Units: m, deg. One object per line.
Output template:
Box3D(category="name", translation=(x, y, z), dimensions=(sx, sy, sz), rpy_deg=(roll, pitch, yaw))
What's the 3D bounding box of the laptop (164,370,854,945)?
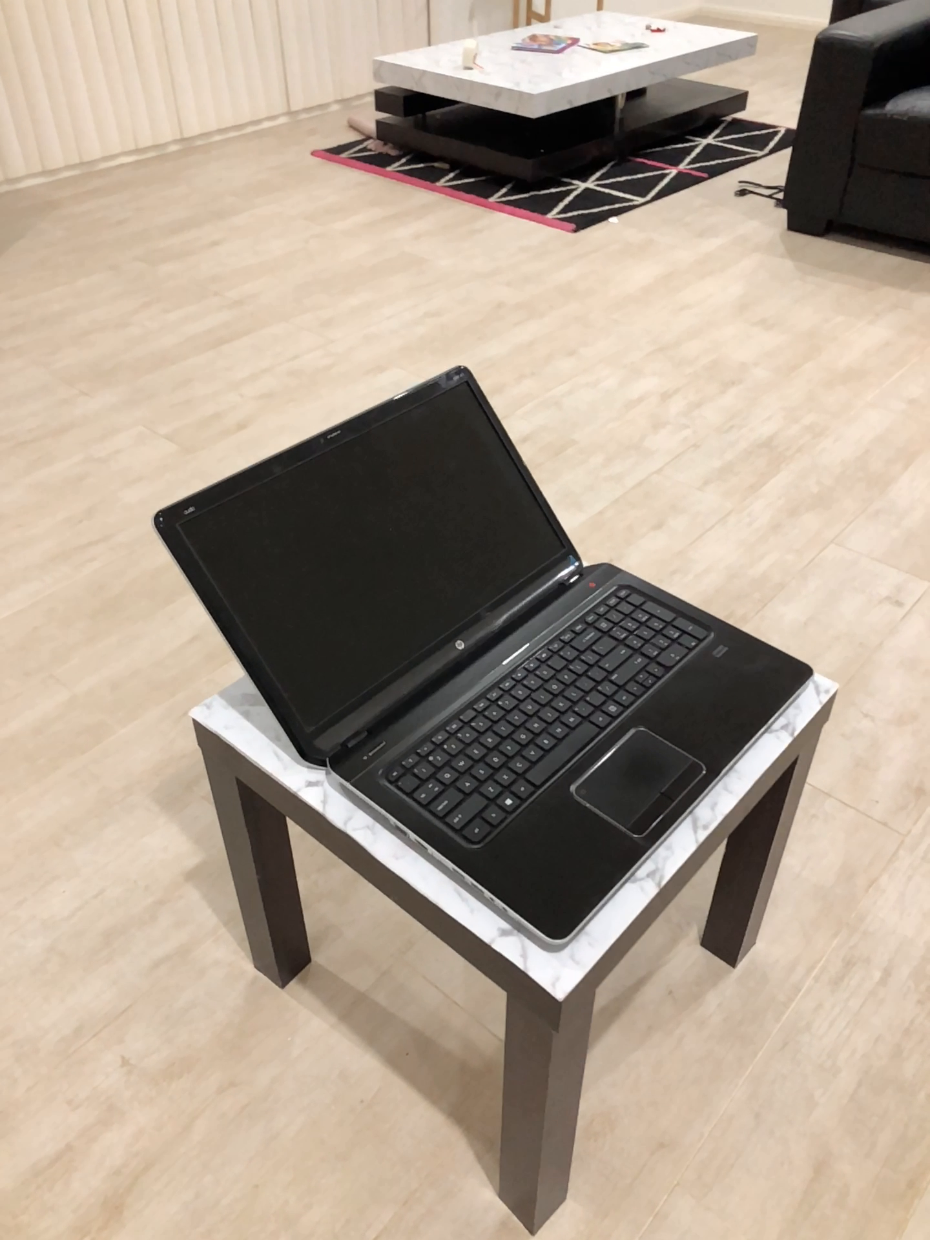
Box3D(category="laptop", translation=(0.037, -0.015, 0.909), dimensions=(0.439, 0.169, 0.388), rpy_deg=(30, 48, 31))
